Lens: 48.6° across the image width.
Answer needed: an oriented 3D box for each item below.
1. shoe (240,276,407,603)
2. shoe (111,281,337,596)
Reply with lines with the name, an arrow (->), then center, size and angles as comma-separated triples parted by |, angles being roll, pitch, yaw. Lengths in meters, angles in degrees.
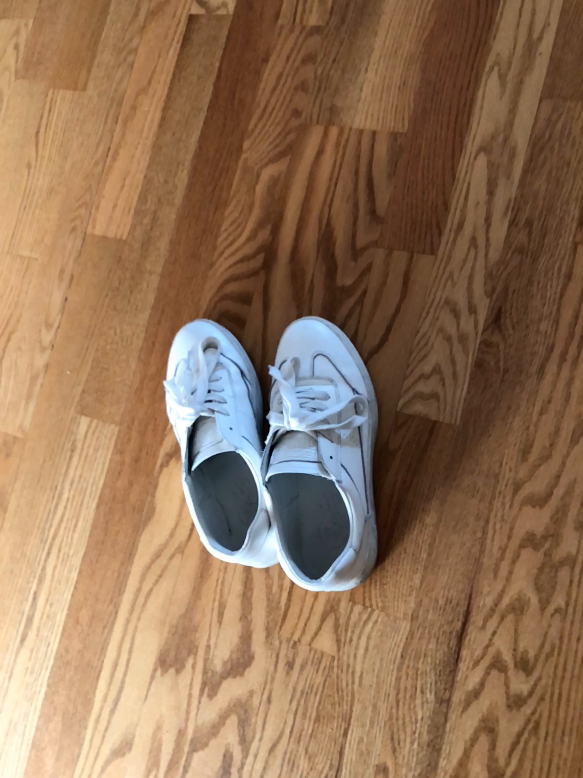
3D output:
shoe -> 0.030, 0.048, 0.584 | 0.102, 0.107, 0.260 | -8, 79, 18
shoe -> -0.065, 0.046, 0.621 | 0.102, 0.104, 0.260 | -26, 74, 14
